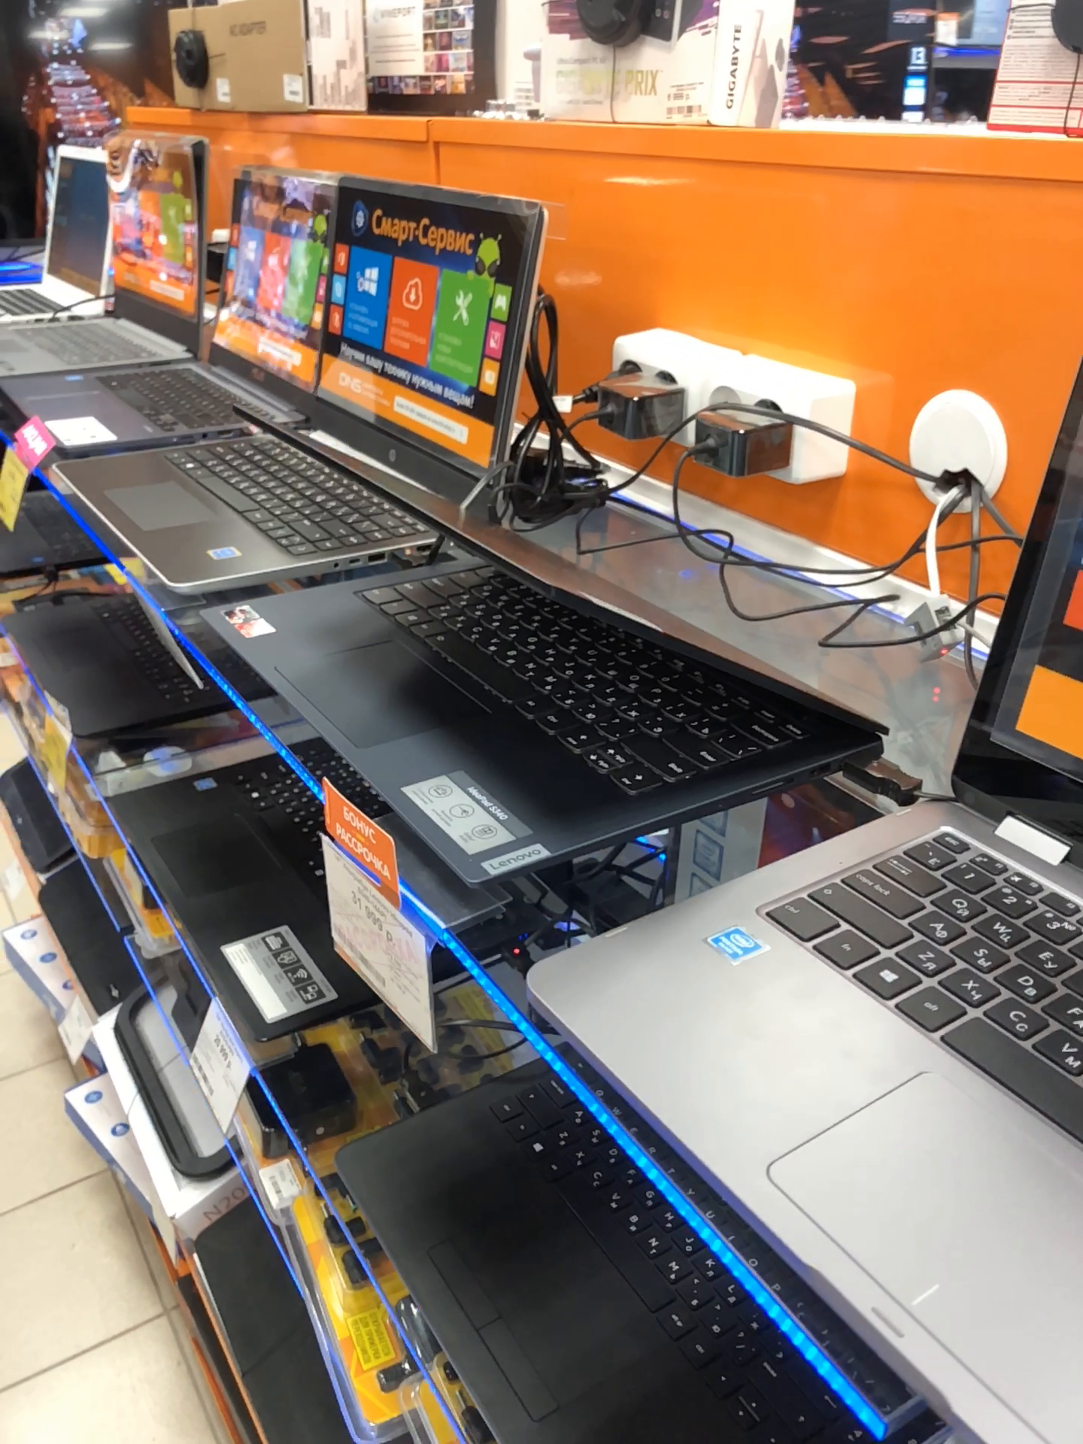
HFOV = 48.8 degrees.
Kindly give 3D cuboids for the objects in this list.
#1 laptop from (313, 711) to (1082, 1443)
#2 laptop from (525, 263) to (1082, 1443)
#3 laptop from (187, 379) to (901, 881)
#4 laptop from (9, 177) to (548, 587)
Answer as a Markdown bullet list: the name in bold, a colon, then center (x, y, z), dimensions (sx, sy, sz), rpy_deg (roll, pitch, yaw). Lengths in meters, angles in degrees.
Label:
- **laptop**: center (0.093, 0.195, 0.565), dimensions (0.258, 0.226, 0.355), rpy_deg (-17, 31, -27)
- **laptop**: center (0.195, 0.024, 0.287), dimensions (0.257, 0.202, 0.331), rpy_deg (-18, 33, -32)
- **laptop**: center (-0.019, -0.073, 0.566), dimensions (0.203, 0.108, 0.303), rpy_deg (-15, 30, -27)
- **laptop**: center (-0.187, -0.259, 0.836), dimensions (0.250, 0.200, 0.303), rpy_deg (-16, 31, -28)
